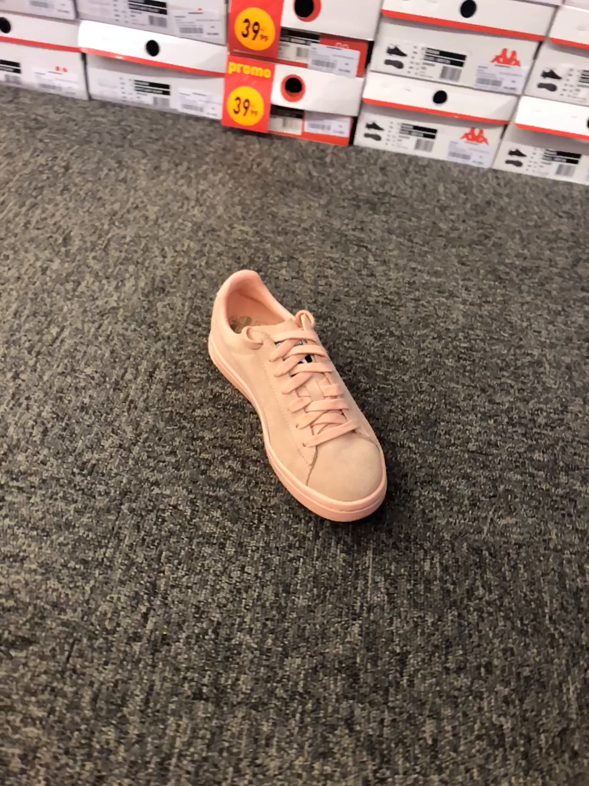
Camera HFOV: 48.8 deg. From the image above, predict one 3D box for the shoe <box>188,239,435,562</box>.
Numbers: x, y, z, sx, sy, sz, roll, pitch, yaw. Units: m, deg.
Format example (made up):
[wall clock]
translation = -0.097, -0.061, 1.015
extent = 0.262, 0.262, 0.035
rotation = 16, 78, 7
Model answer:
[shoe]
translation = 0.000, -0.003, 0.551
extent = 0.093, 0.089, 0.254
rotation = -17, 60, -22
